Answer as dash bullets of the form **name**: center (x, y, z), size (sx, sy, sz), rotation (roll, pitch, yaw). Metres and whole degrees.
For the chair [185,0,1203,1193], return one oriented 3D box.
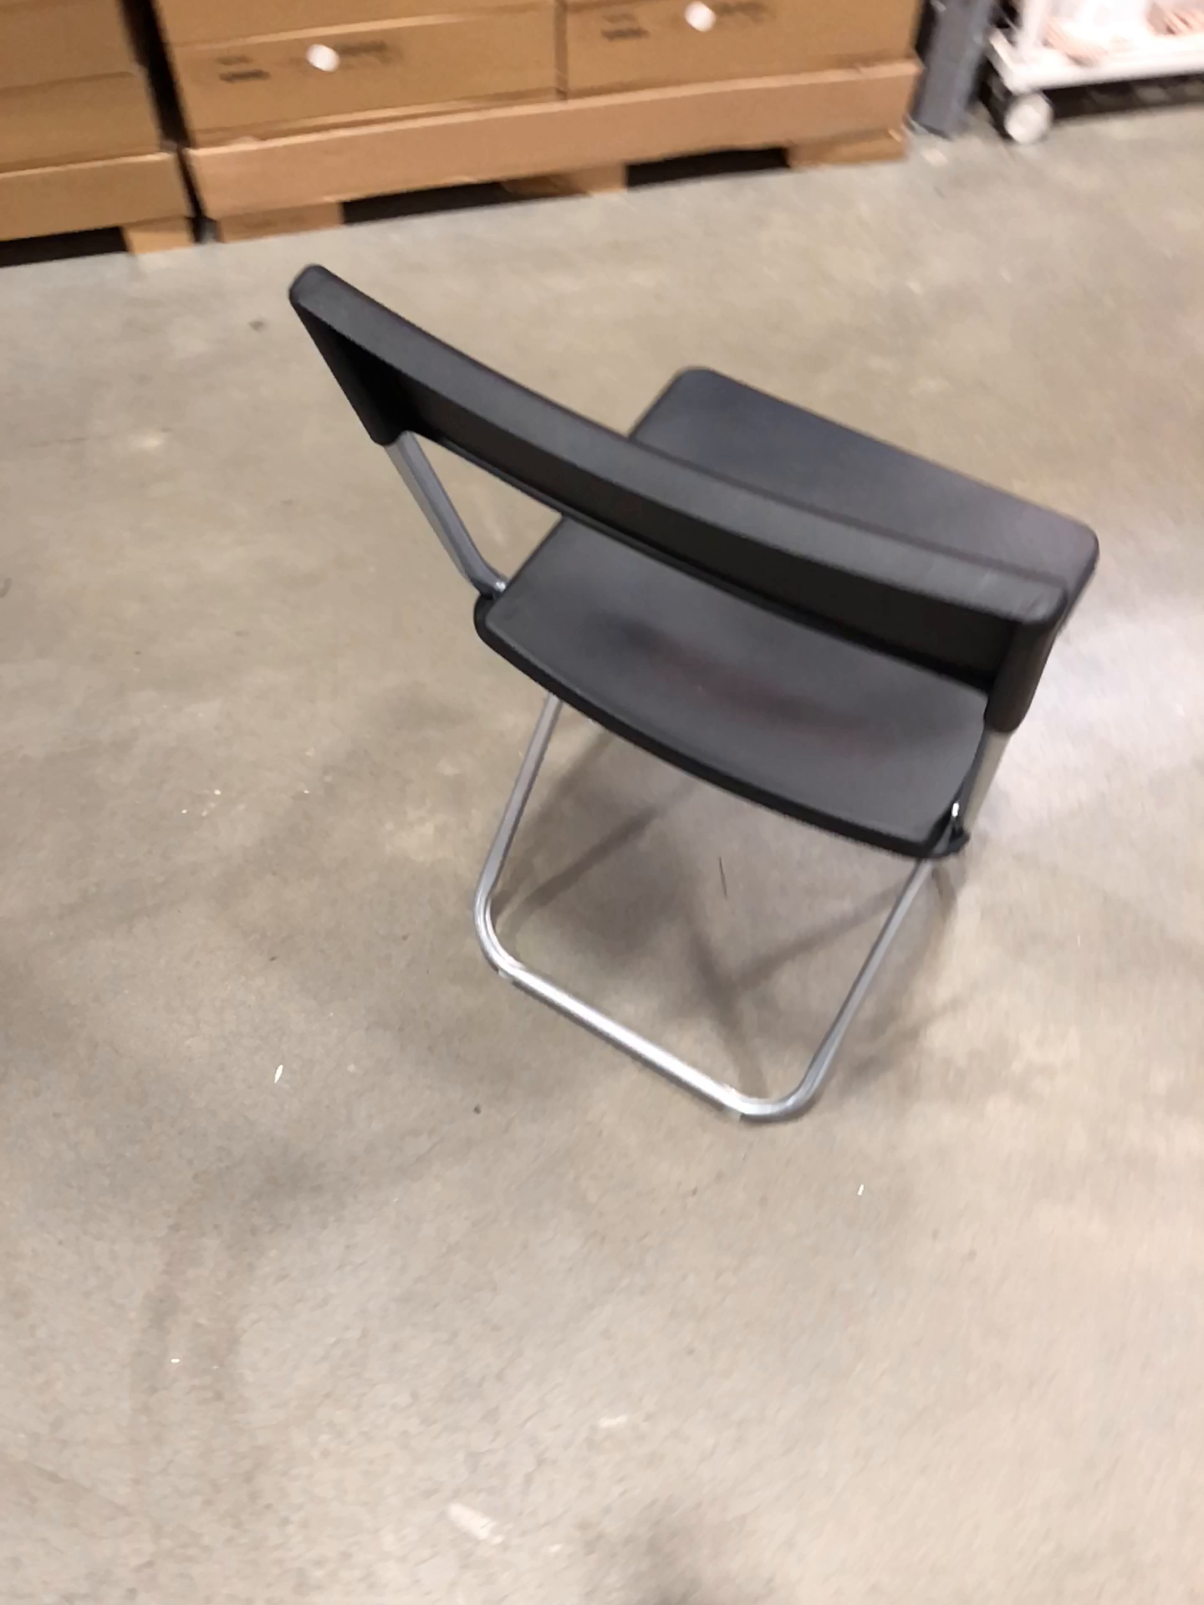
- **chair**: center (0.118, -0.137, 0.990), size (0.460, 0.758, 0.461), rotation (28, 61, 17)
